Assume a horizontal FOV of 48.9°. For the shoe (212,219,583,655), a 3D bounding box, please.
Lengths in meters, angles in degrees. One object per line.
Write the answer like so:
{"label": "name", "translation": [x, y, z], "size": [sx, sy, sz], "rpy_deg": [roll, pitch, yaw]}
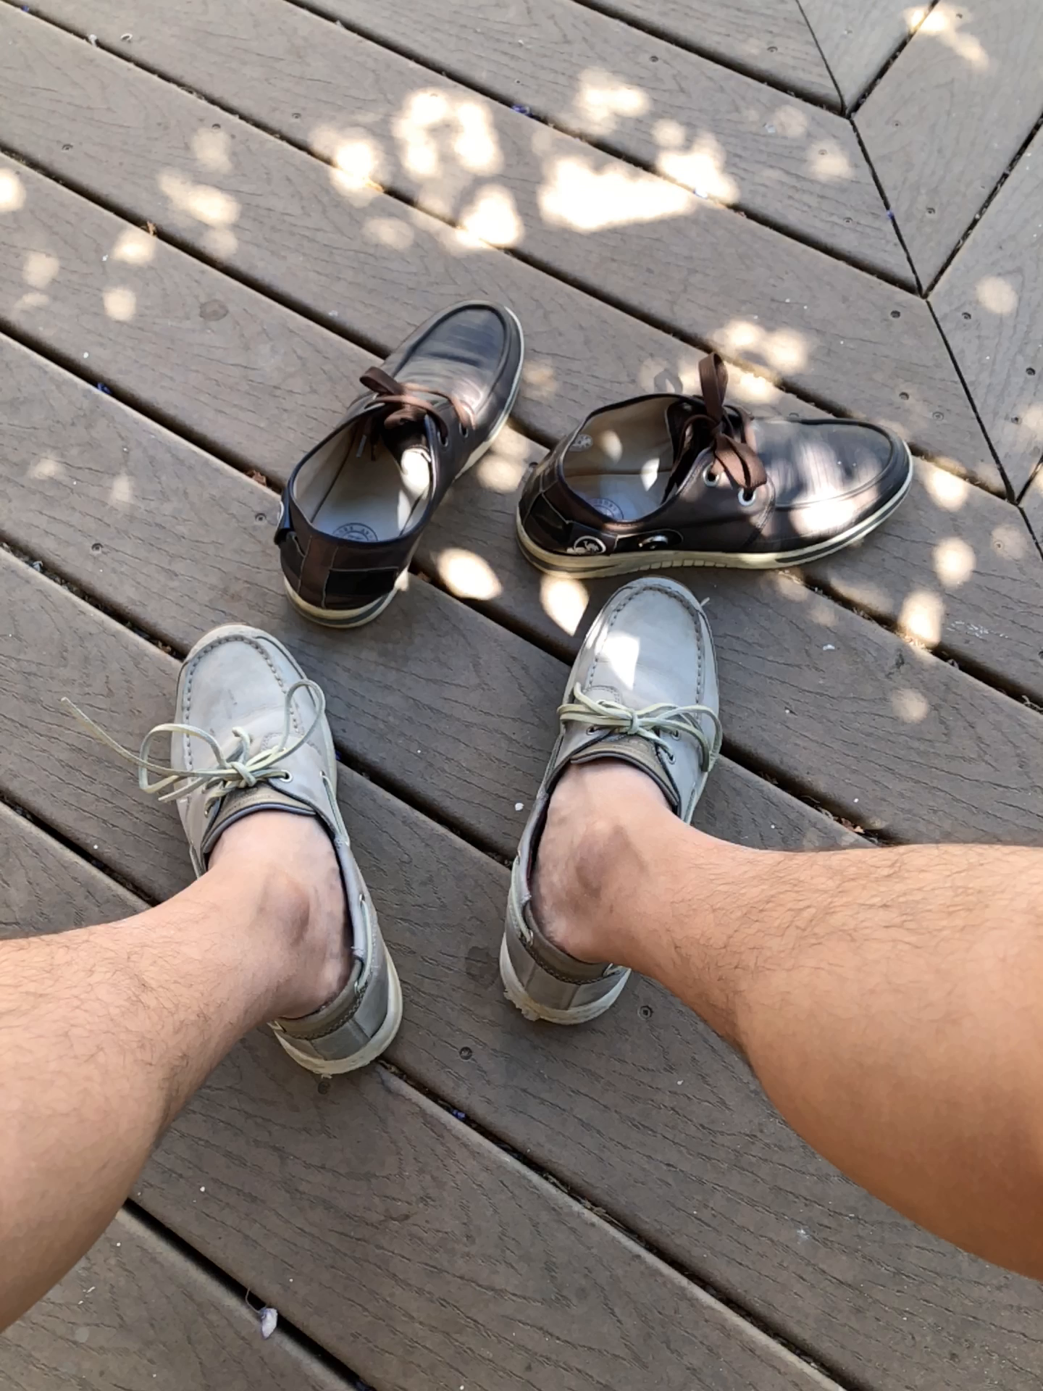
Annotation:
{"label": "shoe", "translation": [-0.074, -0.177, 0.770], "size": [0.109, 0.069, 0.279], "rpy_deg": [27, 71, 10]}

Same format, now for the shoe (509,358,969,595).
{"label": "shoe", "translation": [0.135, -0.145, 0.765], "size": [0.277, 0.079, 0.110], "rpy_deg": [-5, 67, -2]}

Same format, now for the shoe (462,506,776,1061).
{"label": "shoe", "translation": [0.060, 0.049, 0.678], "size": [0.109, 0.101, 0.293], "rpy_deg": [14, 68, 5]}

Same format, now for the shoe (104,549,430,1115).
{"label": "shoe", "translation": [-0.147, 0.073, 0.661], "size": [0.109, 0.086, 0.293], "rpy_deg": [-16, 69, -8]}
